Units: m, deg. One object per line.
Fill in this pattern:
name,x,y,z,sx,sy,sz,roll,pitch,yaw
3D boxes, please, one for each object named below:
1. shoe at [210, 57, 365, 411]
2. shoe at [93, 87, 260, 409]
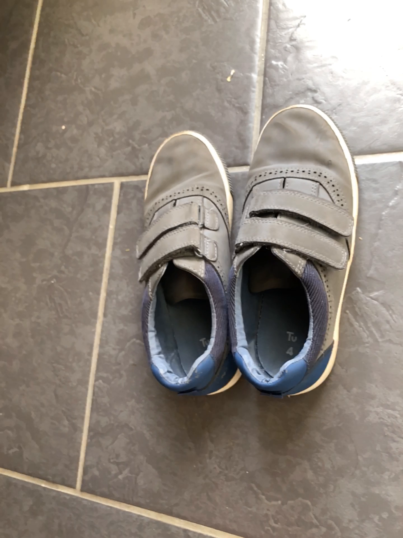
shoe,0.073,-0.025,0.360,0.100,0.070,0.250,-2,78,26
shoe,-0.026,-0.015,0.393,0.100,0.070,0.250,-13,74,23
